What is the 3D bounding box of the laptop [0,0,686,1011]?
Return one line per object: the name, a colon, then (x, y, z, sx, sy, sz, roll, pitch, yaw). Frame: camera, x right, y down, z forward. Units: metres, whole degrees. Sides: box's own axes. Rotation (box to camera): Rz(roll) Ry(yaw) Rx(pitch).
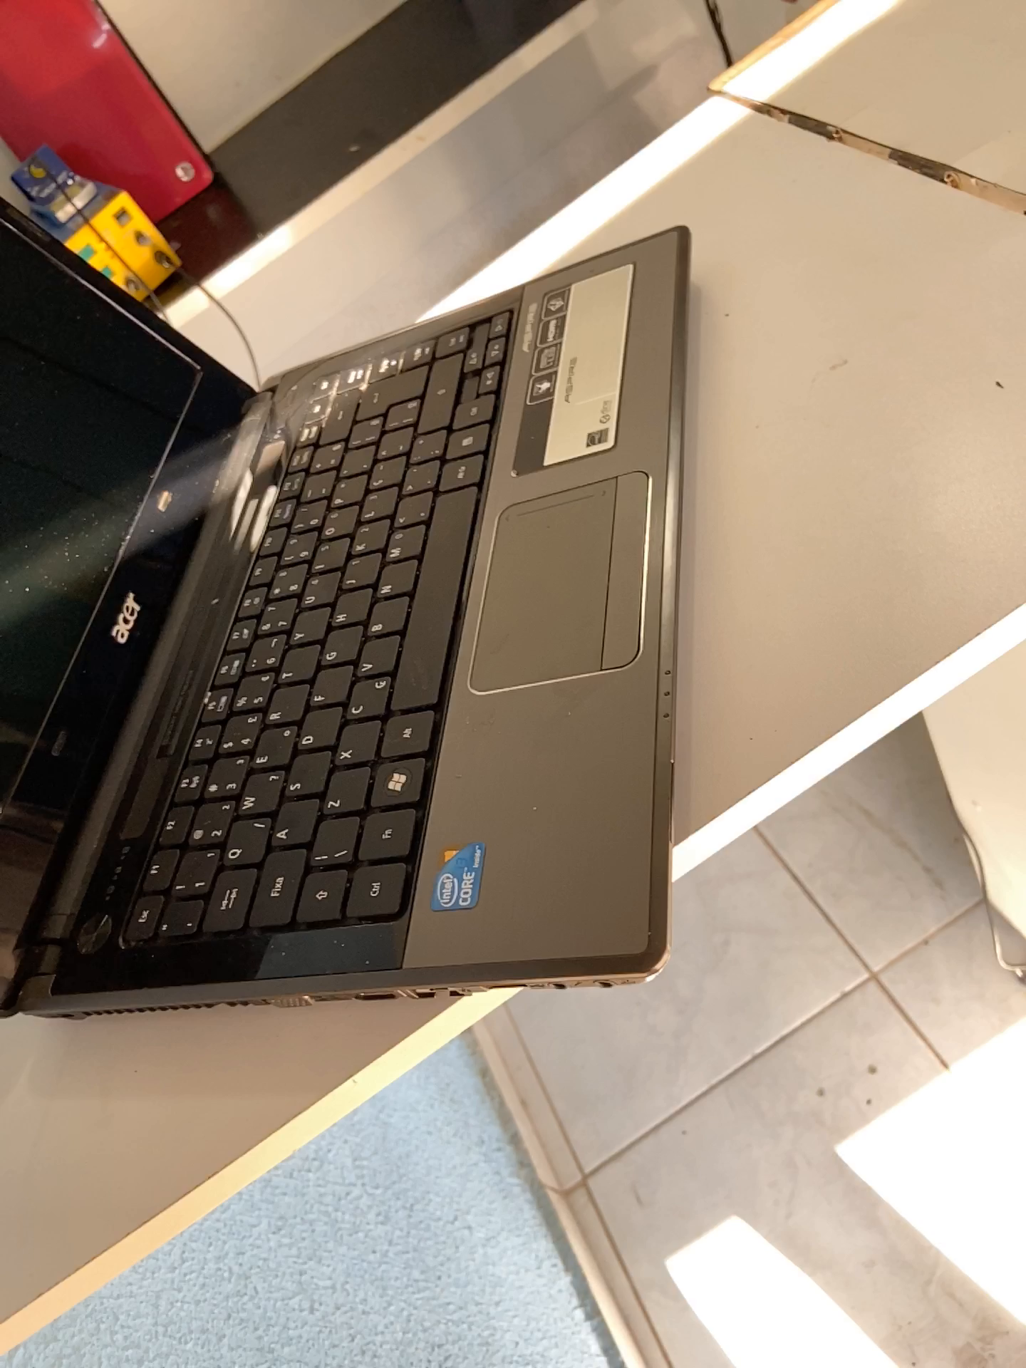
laptop: (-0.132, -0.096, 0.365, 0.318, 0.207, 0.338, -11, 50, 25)
